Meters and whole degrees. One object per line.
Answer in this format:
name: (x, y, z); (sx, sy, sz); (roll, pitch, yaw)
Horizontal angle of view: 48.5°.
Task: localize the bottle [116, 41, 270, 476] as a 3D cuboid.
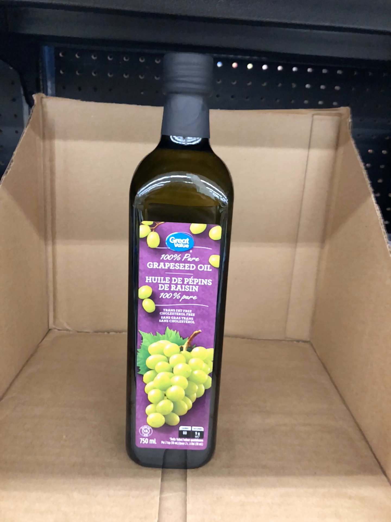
bottle: (-0.009, 0.011, 0.296); (0.080, 0.278, 0.060); (3, 18, -1)
